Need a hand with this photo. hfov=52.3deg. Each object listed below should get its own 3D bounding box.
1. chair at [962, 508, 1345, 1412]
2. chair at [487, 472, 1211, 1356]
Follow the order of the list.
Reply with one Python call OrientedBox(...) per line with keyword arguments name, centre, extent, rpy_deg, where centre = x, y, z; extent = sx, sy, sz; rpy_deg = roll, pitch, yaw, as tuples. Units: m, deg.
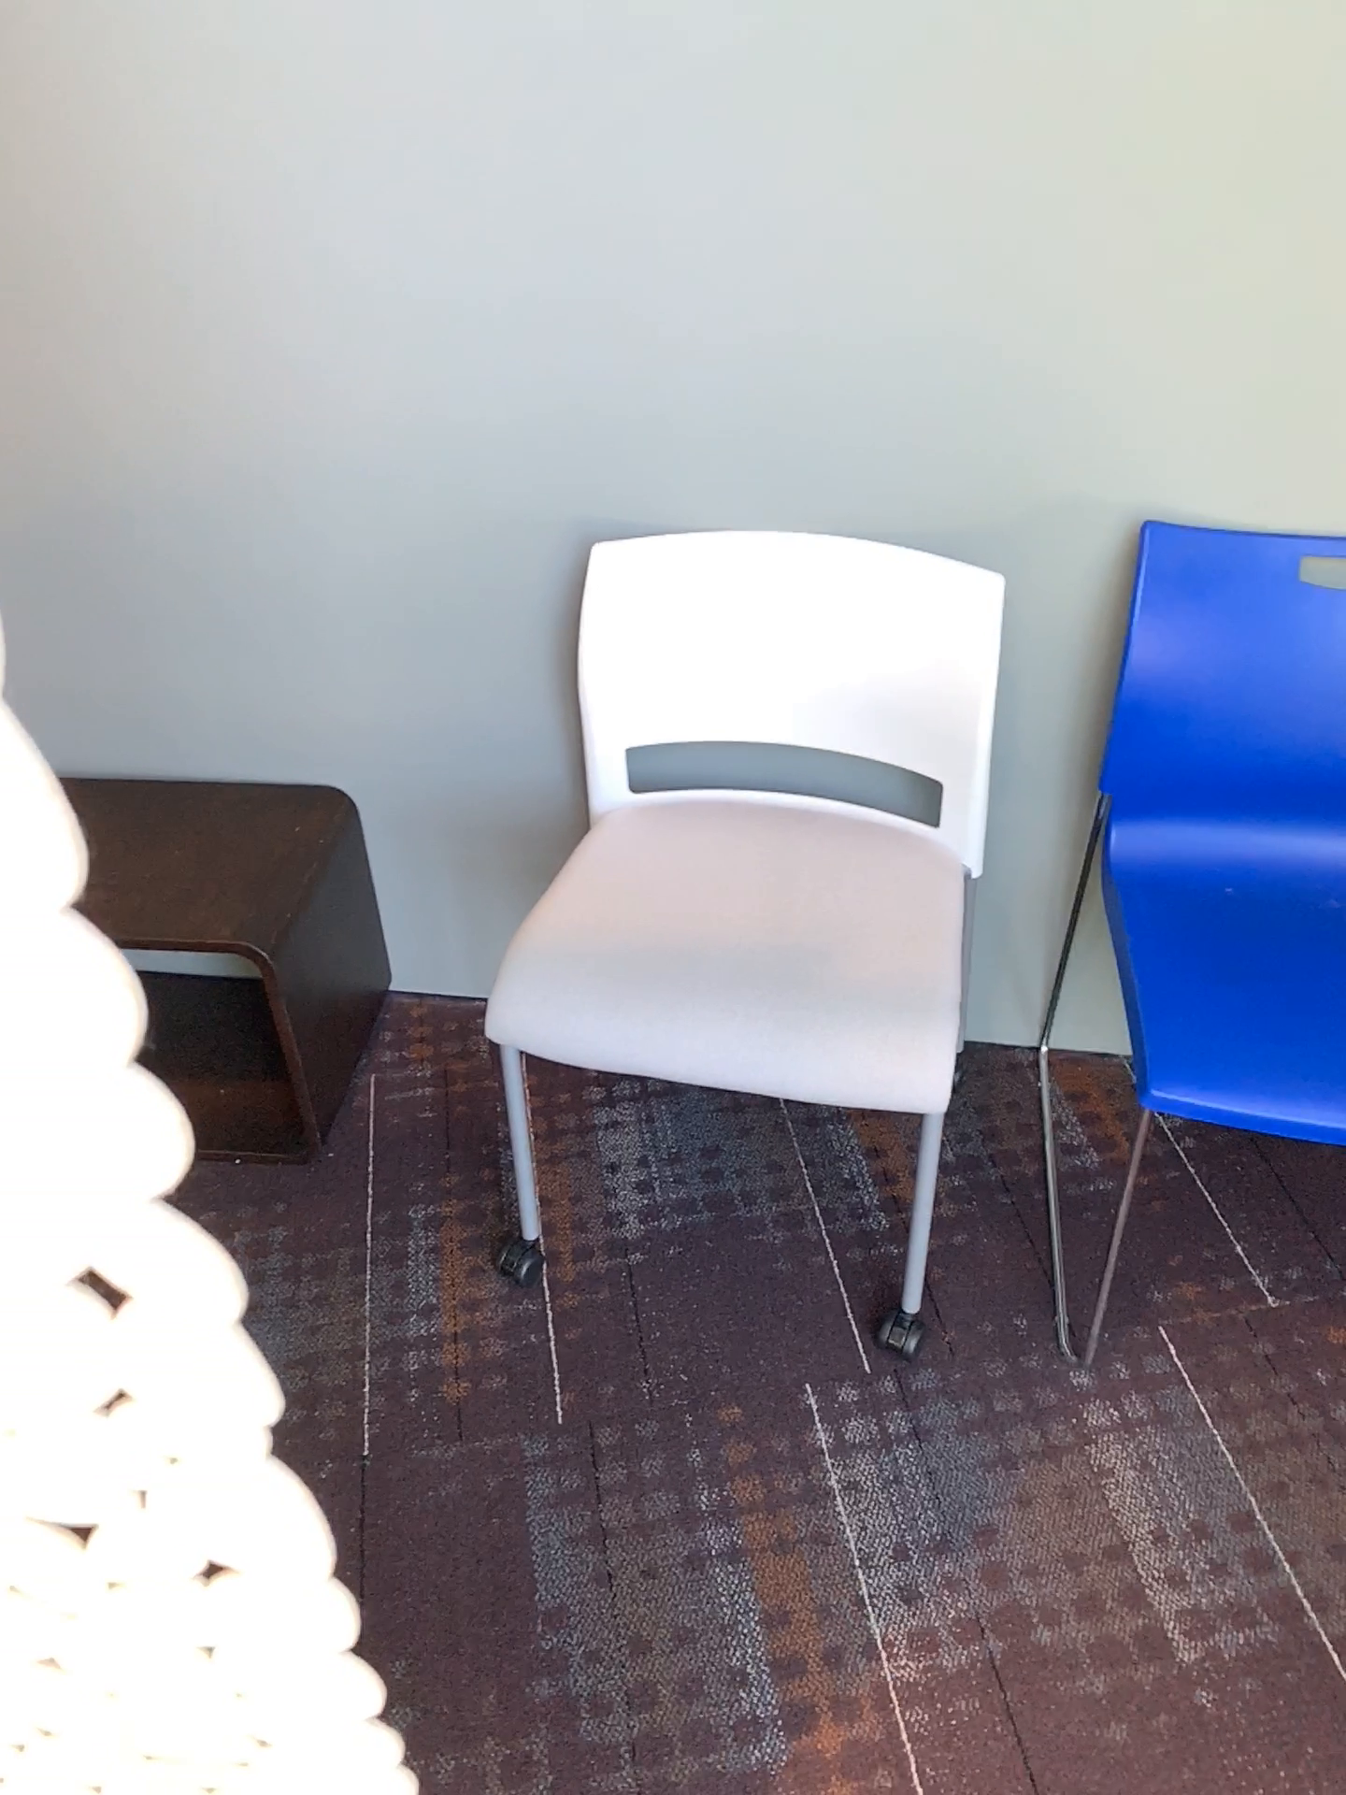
OrientedBox(name="chair", centre=(0.683, 0.039, 1.605), extent=(0.590, 0.795, 0.623), rpy_deg=(5, 31, 8))
OrientedBox(name="chair", centre=(0.116, 0.023, 1.567), extent=(0.590, 0.795, 0.563), rpy_deg=(4, 35, -2))
